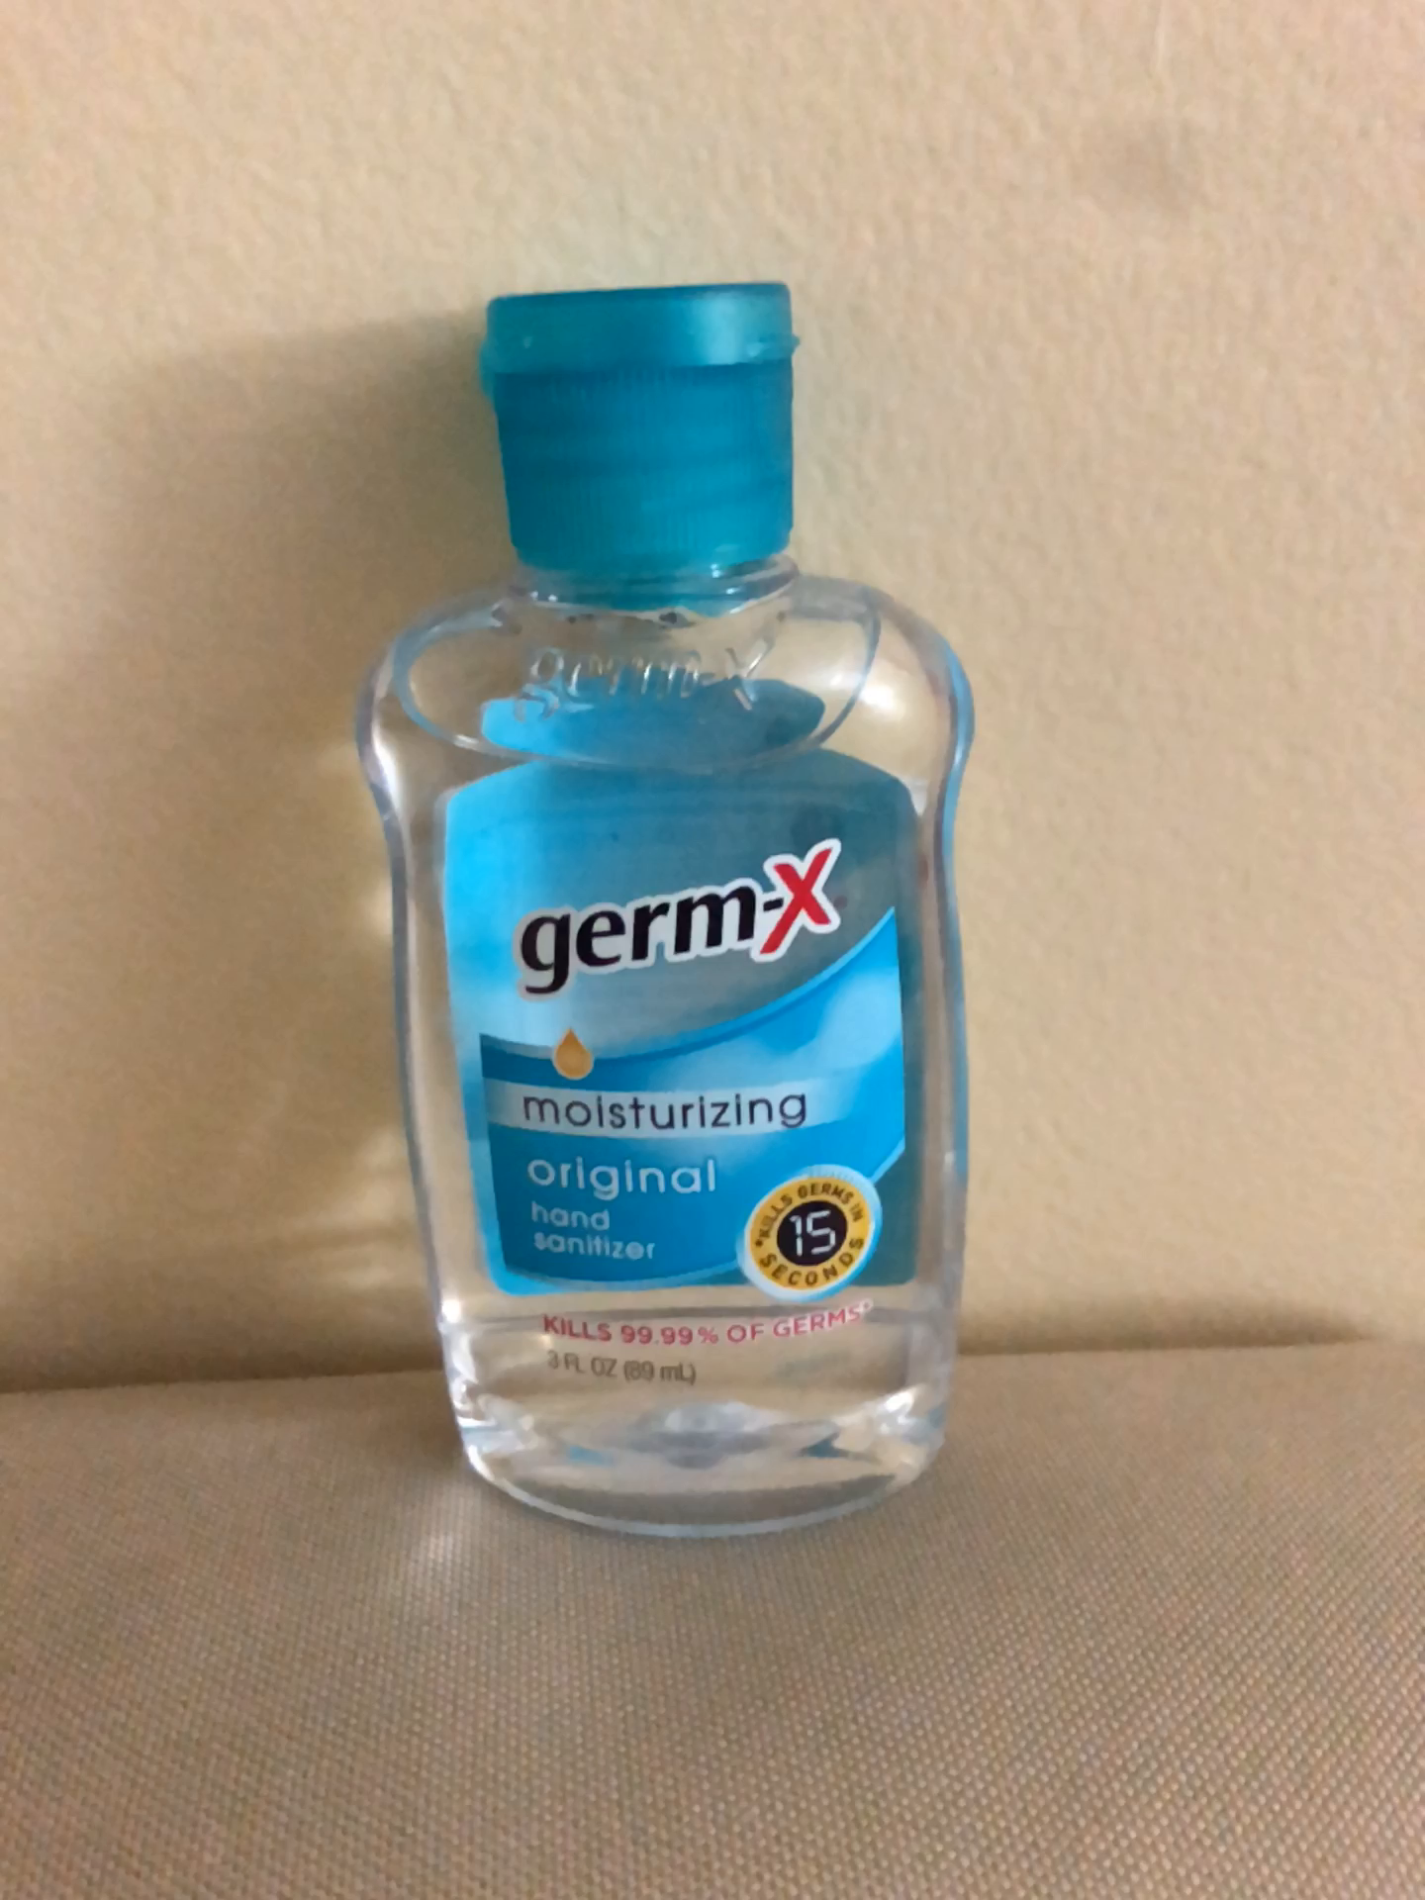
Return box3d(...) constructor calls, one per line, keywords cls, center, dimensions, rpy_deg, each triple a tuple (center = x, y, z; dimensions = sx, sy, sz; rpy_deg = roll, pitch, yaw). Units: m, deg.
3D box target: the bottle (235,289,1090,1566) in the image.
box3d(cls="bottle", center=(-0.004, 0.000, 0.147), dimensions=(0.060, 0.110, 0.030), rpy_deg=(-1, 20, -2))
